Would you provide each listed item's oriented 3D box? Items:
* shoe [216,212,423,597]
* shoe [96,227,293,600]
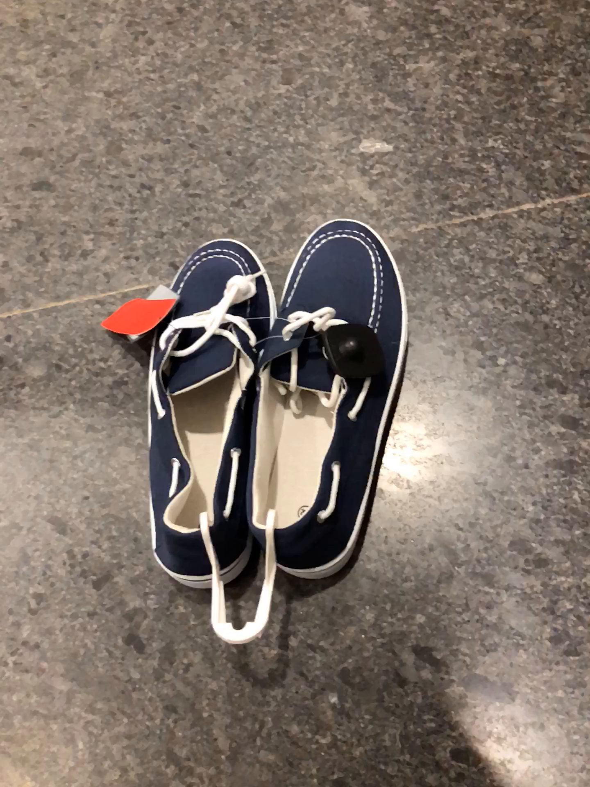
[{"bbox_3d":[0.031,0.007,0.473,0.096,0.115,0.247,6,68,12],"label":"shoe"},{"bbox_3d":[-0.061,0.018,0.483,0.096,0.115,0.249,-3,67,9],"label":"shoe"}]
